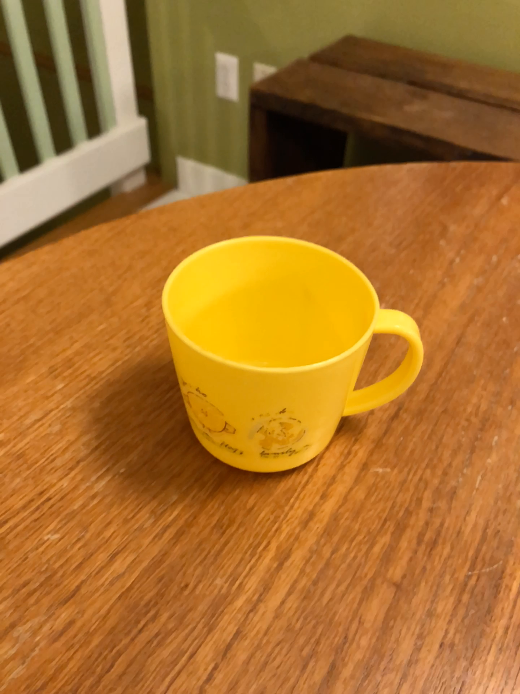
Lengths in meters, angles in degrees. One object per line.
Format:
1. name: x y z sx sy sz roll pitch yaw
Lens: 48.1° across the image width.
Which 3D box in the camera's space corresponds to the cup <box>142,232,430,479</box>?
1. cup: 0.008 0.002 0.248 0.097 0.064 0.081 2 43 -1
